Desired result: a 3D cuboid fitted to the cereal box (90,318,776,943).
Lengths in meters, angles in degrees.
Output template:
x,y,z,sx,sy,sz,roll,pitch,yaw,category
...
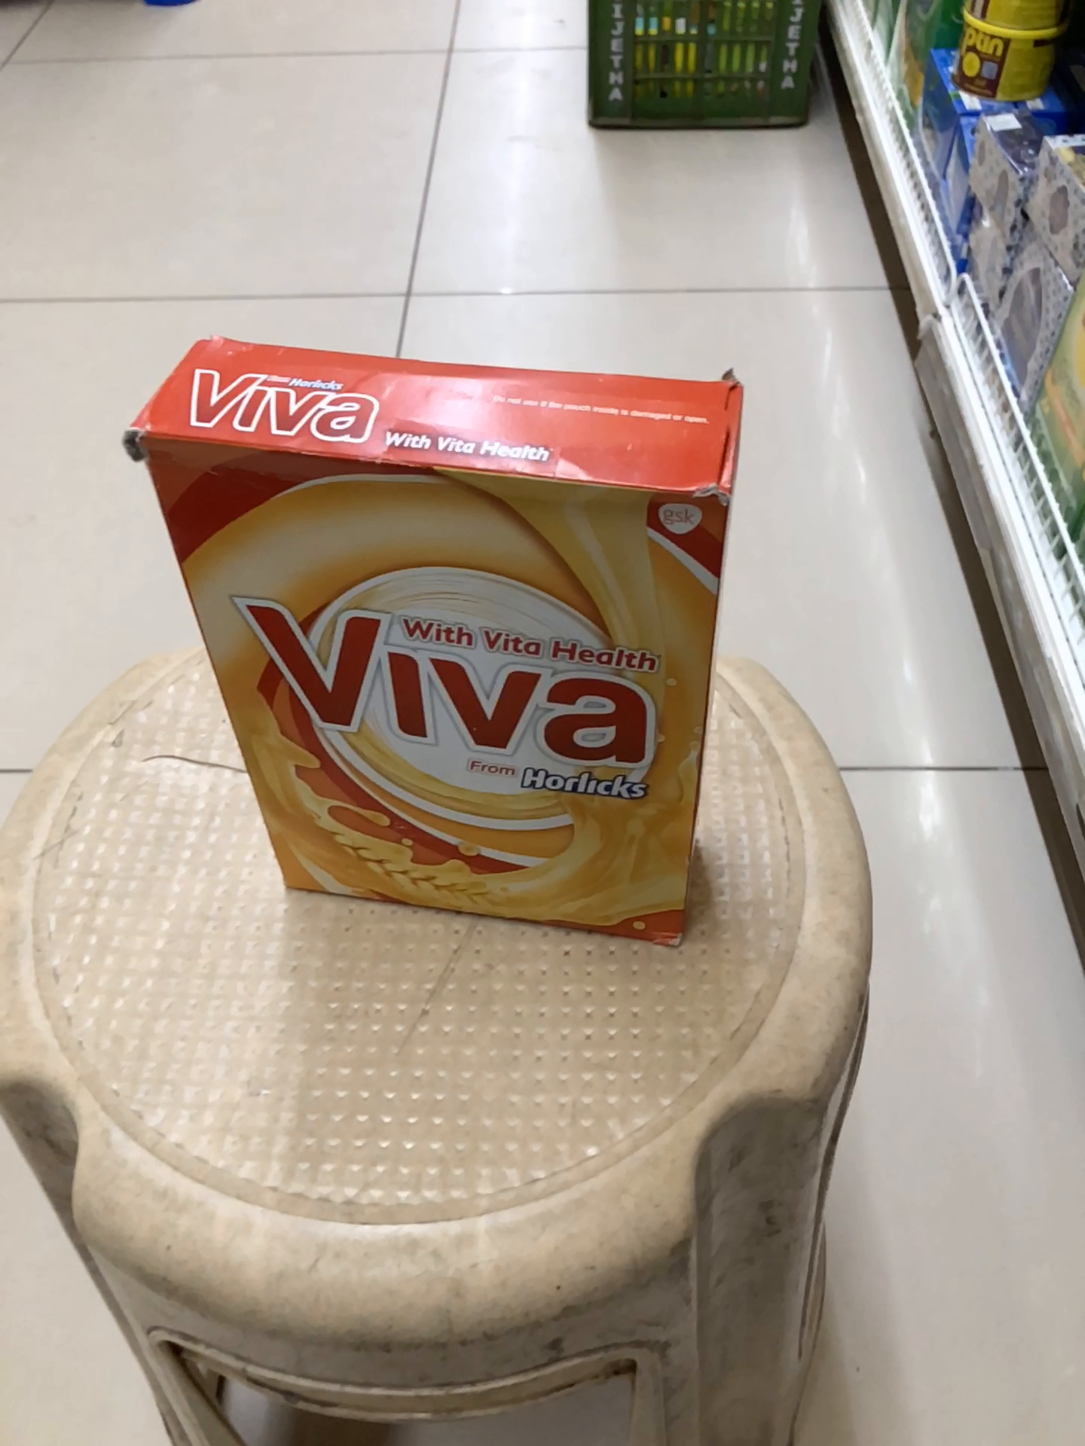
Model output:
x,y,z,sx,sy,sz,roll,pitch,yaw,category
-0.022,-0.016,0.368,0.160,0.199,0.050,7,51,8,cereal box
